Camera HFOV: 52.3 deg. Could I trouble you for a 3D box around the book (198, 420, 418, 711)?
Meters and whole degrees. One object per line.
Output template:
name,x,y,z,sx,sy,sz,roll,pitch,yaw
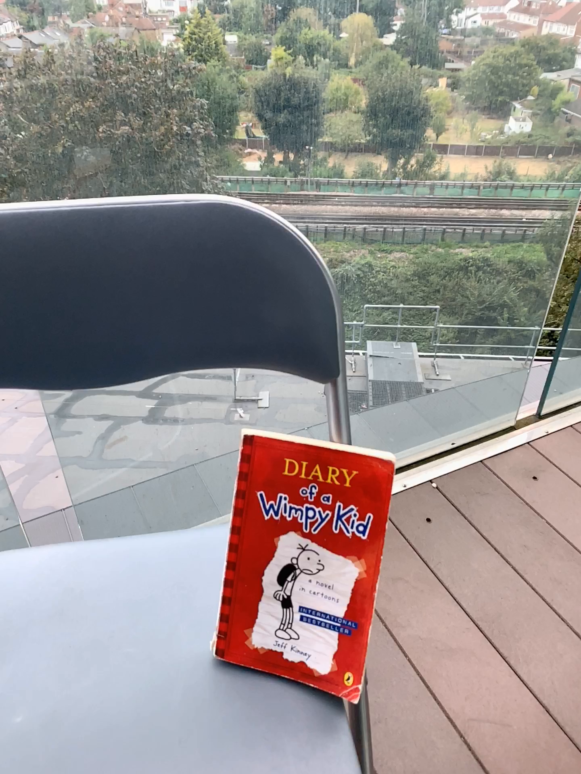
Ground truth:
book,0.014,0.142,0.493,0.150,0.200,0.040,10,4,13
